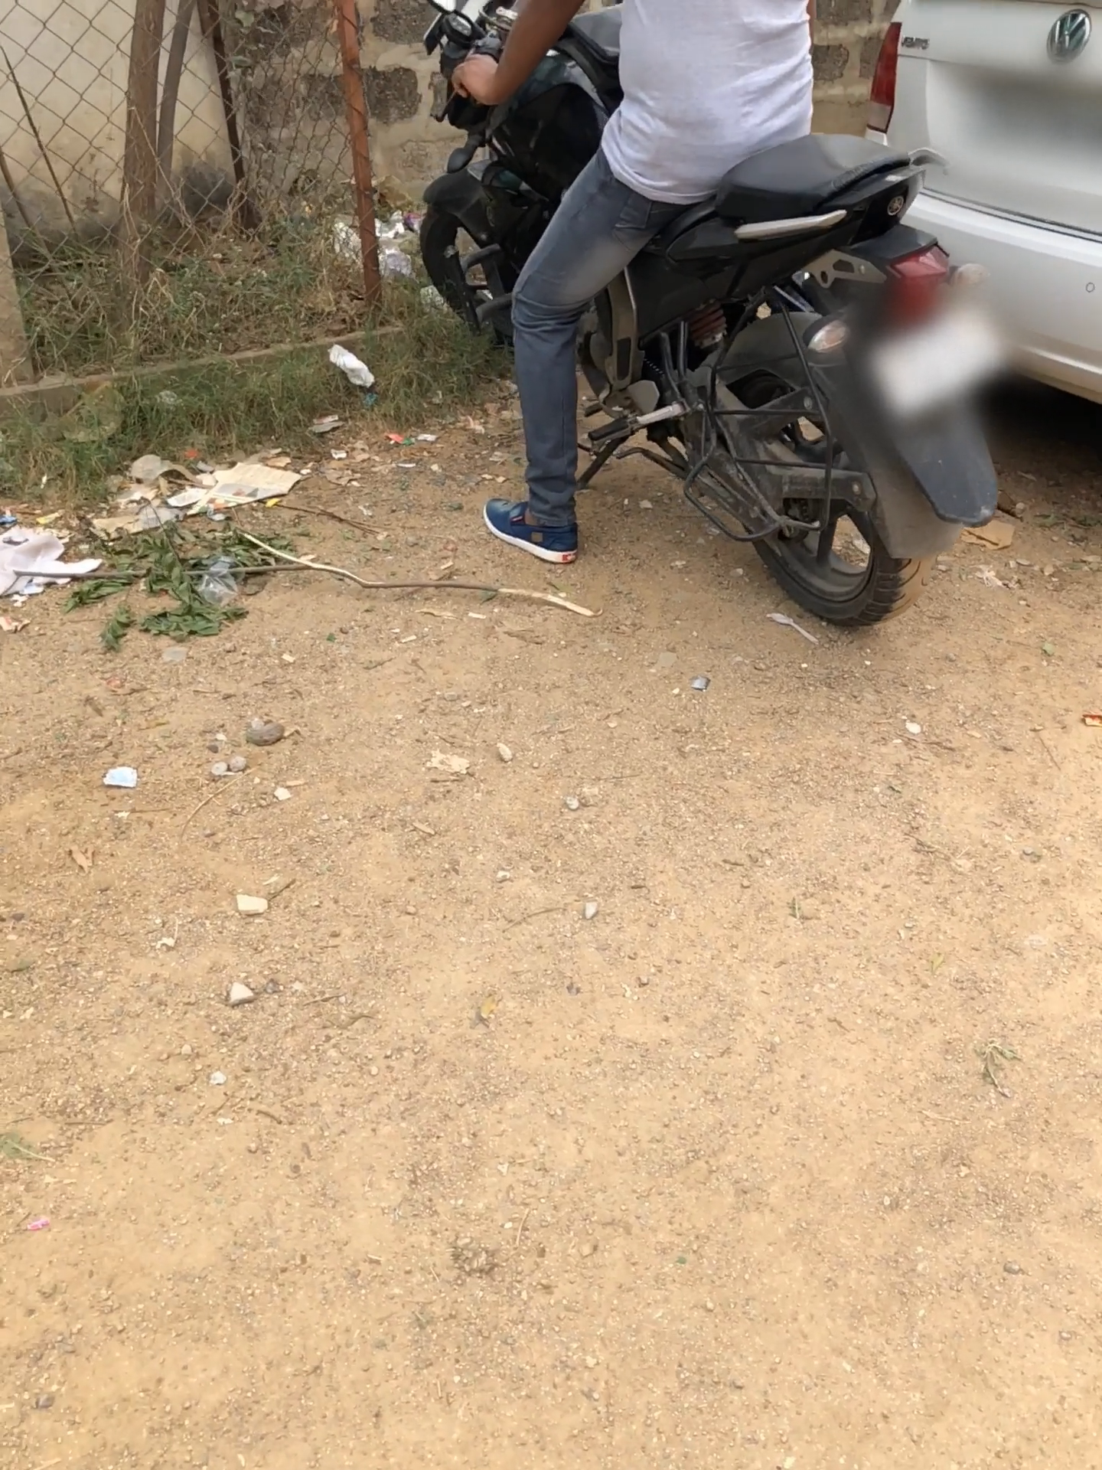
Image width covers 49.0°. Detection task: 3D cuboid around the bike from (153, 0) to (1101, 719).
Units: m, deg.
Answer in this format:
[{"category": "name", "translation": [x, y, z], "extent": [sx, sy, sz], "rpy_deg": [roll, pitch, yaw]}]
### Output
[{"category": "bike", "translation": [-0.020, -1.019, 2.151], "extent": [0.529, 1.094, 1.622], "rpy_deg": [-22, 46, -29]}]
